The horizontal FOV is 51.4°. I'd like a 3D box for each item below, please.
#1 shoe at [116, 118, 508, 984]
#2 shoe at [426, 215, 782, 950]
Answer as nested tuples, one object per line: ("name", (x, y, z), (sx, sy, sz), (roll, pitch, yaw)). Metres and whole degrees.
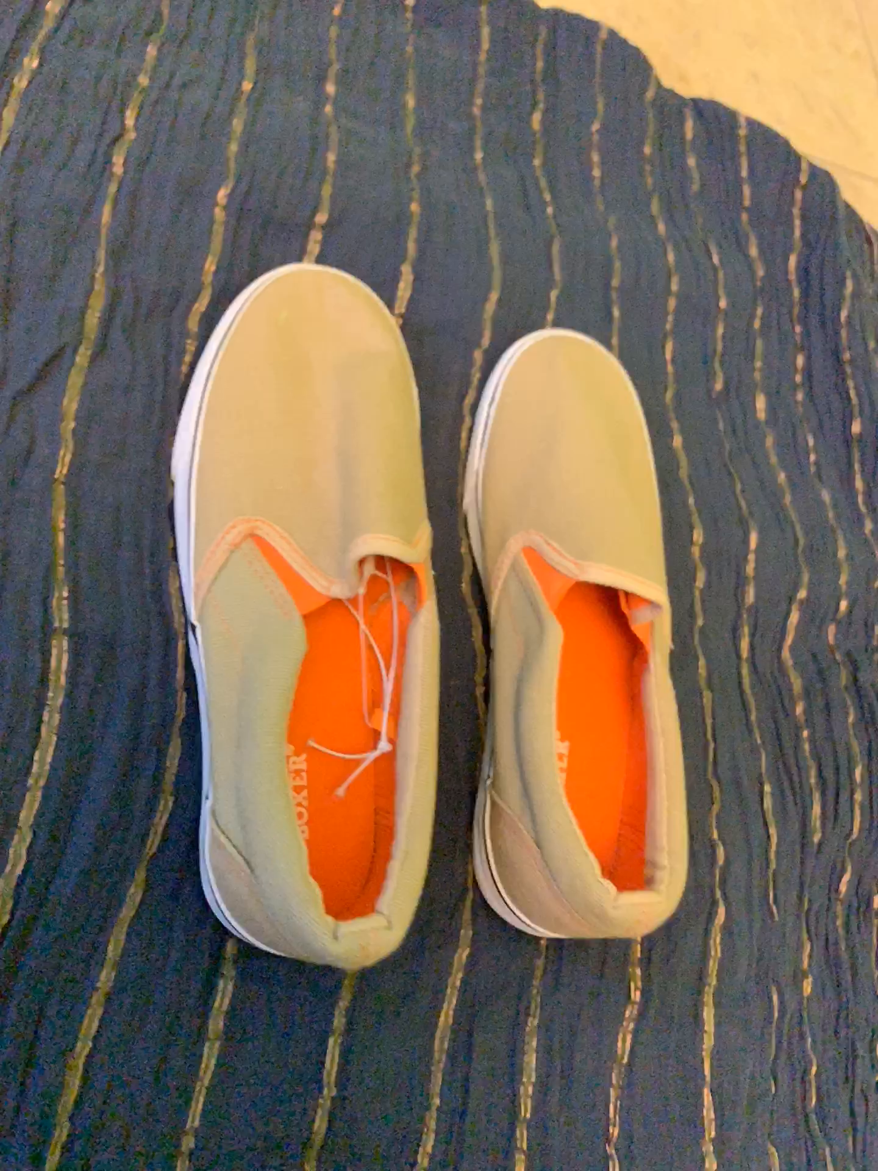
("shoe", (-0.041, -0.012, 0.315), (0.096, 0.079, 0.263), (9, 70, -26))
("shoe", (0.060, 0.000, 0.375), (0.100, 0.079, 0.271), (10, 70, -26))
